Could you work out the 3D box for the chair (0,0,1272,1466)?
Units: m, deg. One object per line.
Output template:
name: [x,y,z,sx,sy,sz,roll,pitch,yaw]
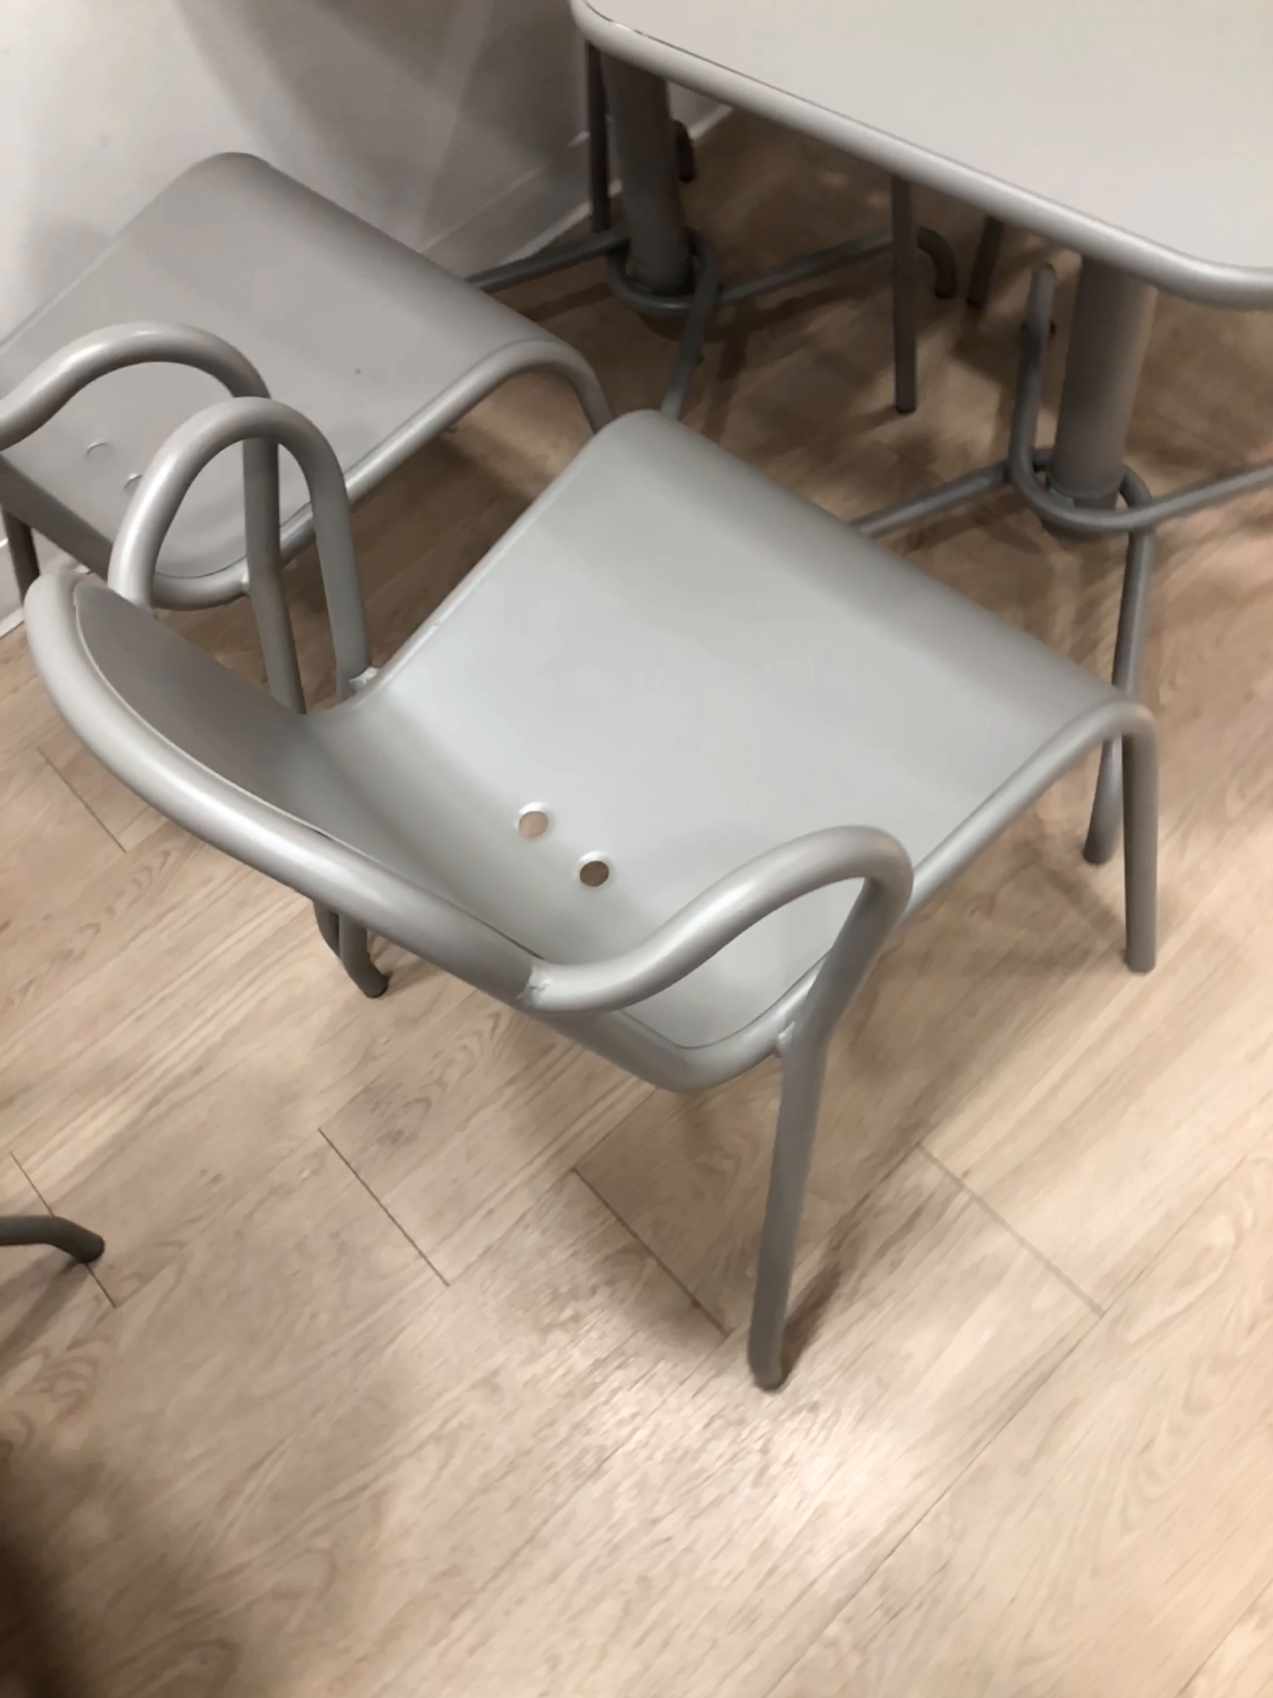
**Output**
chair: [0.070,-0.052,0.914,0.611,0.707,0.482,-43,63,-15]
